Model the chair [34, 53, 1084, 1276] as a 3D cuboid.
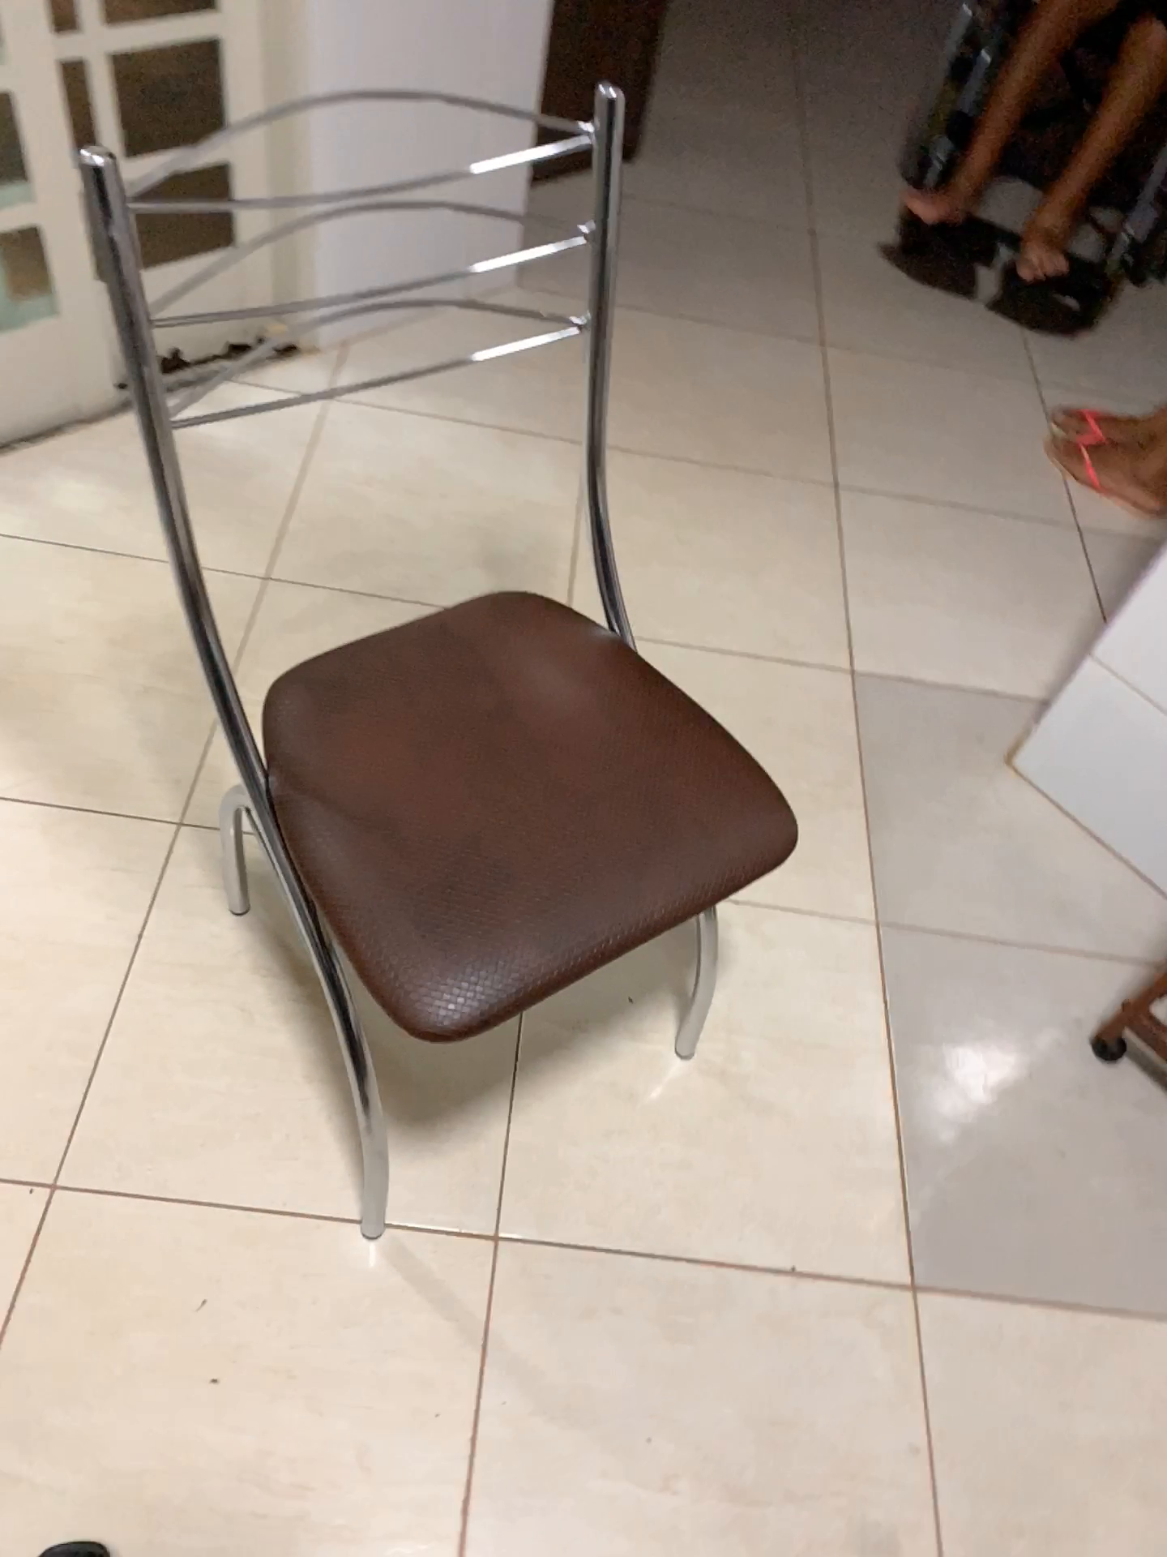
[{"bbox_3d":[-0.089,-0.031,1.018,0.420,0.871,0.485,-23,59,-26],"label":"chair"}]
